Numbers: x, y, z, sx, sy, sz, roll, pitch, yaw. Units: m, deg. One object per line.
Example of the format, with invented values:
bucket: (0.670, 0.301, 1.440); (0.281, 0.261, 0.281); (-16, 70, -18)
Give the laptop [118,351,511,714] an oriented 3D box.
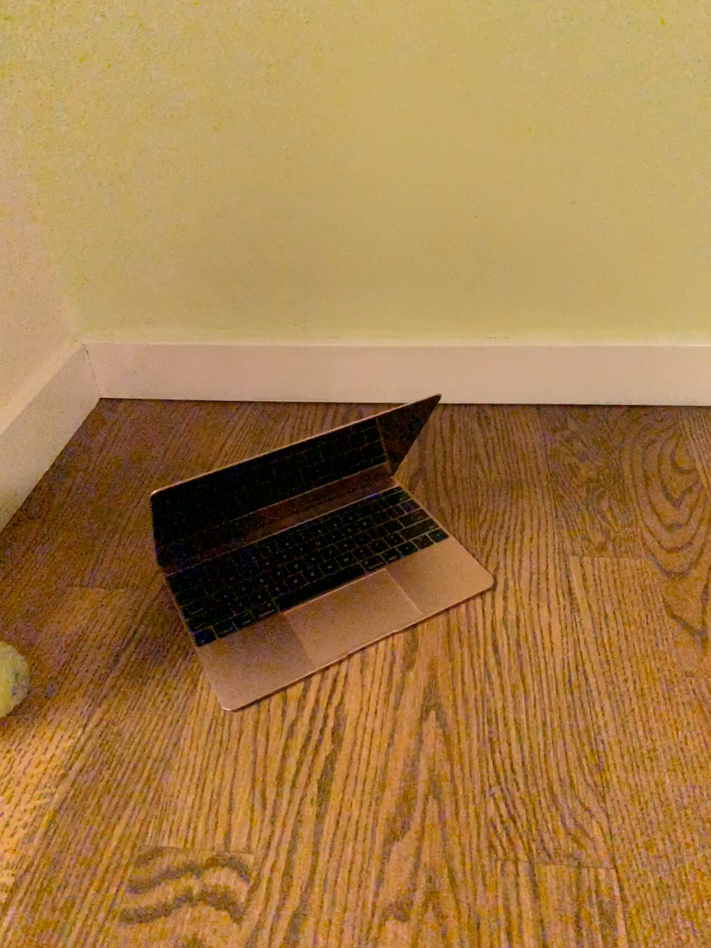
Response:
laptop: (-0.037, 0.037, 0.696); (0.288, 0.168, 0.207); (-21, 40, -21)
